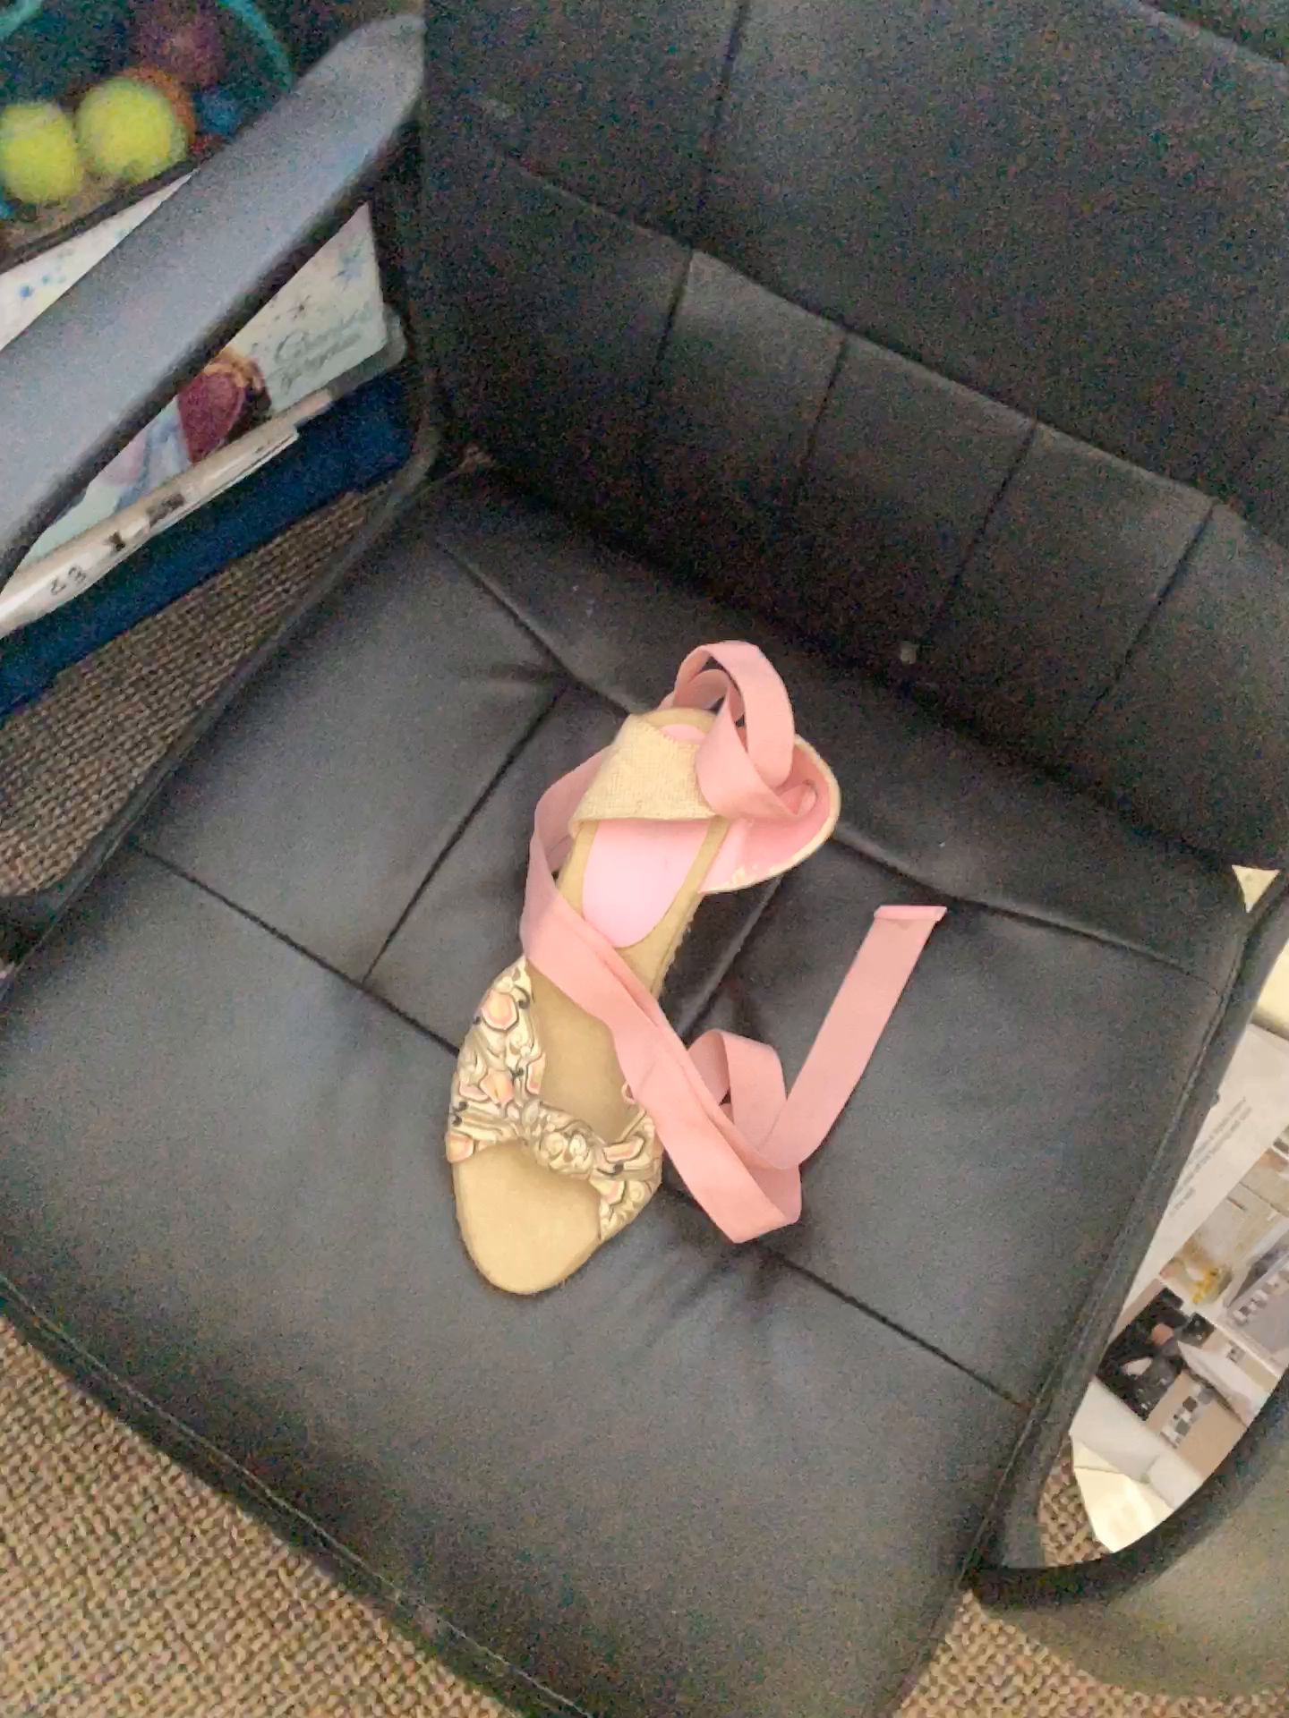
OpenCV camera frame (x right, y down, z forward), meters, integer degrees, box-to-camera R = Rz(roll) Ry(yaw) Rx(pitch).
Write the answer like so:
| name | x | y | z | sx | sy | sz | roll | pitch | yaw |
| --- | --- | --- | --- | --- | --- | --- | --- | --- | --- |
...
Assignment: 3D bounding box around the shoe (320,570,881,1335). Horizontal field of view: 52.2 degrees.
| name | x | y | z | sx | sy | sz | roll | pitch | yaw |
| --- | --- | --- | --- | --- | --- | --- | --- | --- | --- |
| shoe | -0.011 | 0.043 | 0.543 | 0.100 | 0.139 | 0.271 | 24 | 70 | 5 |
